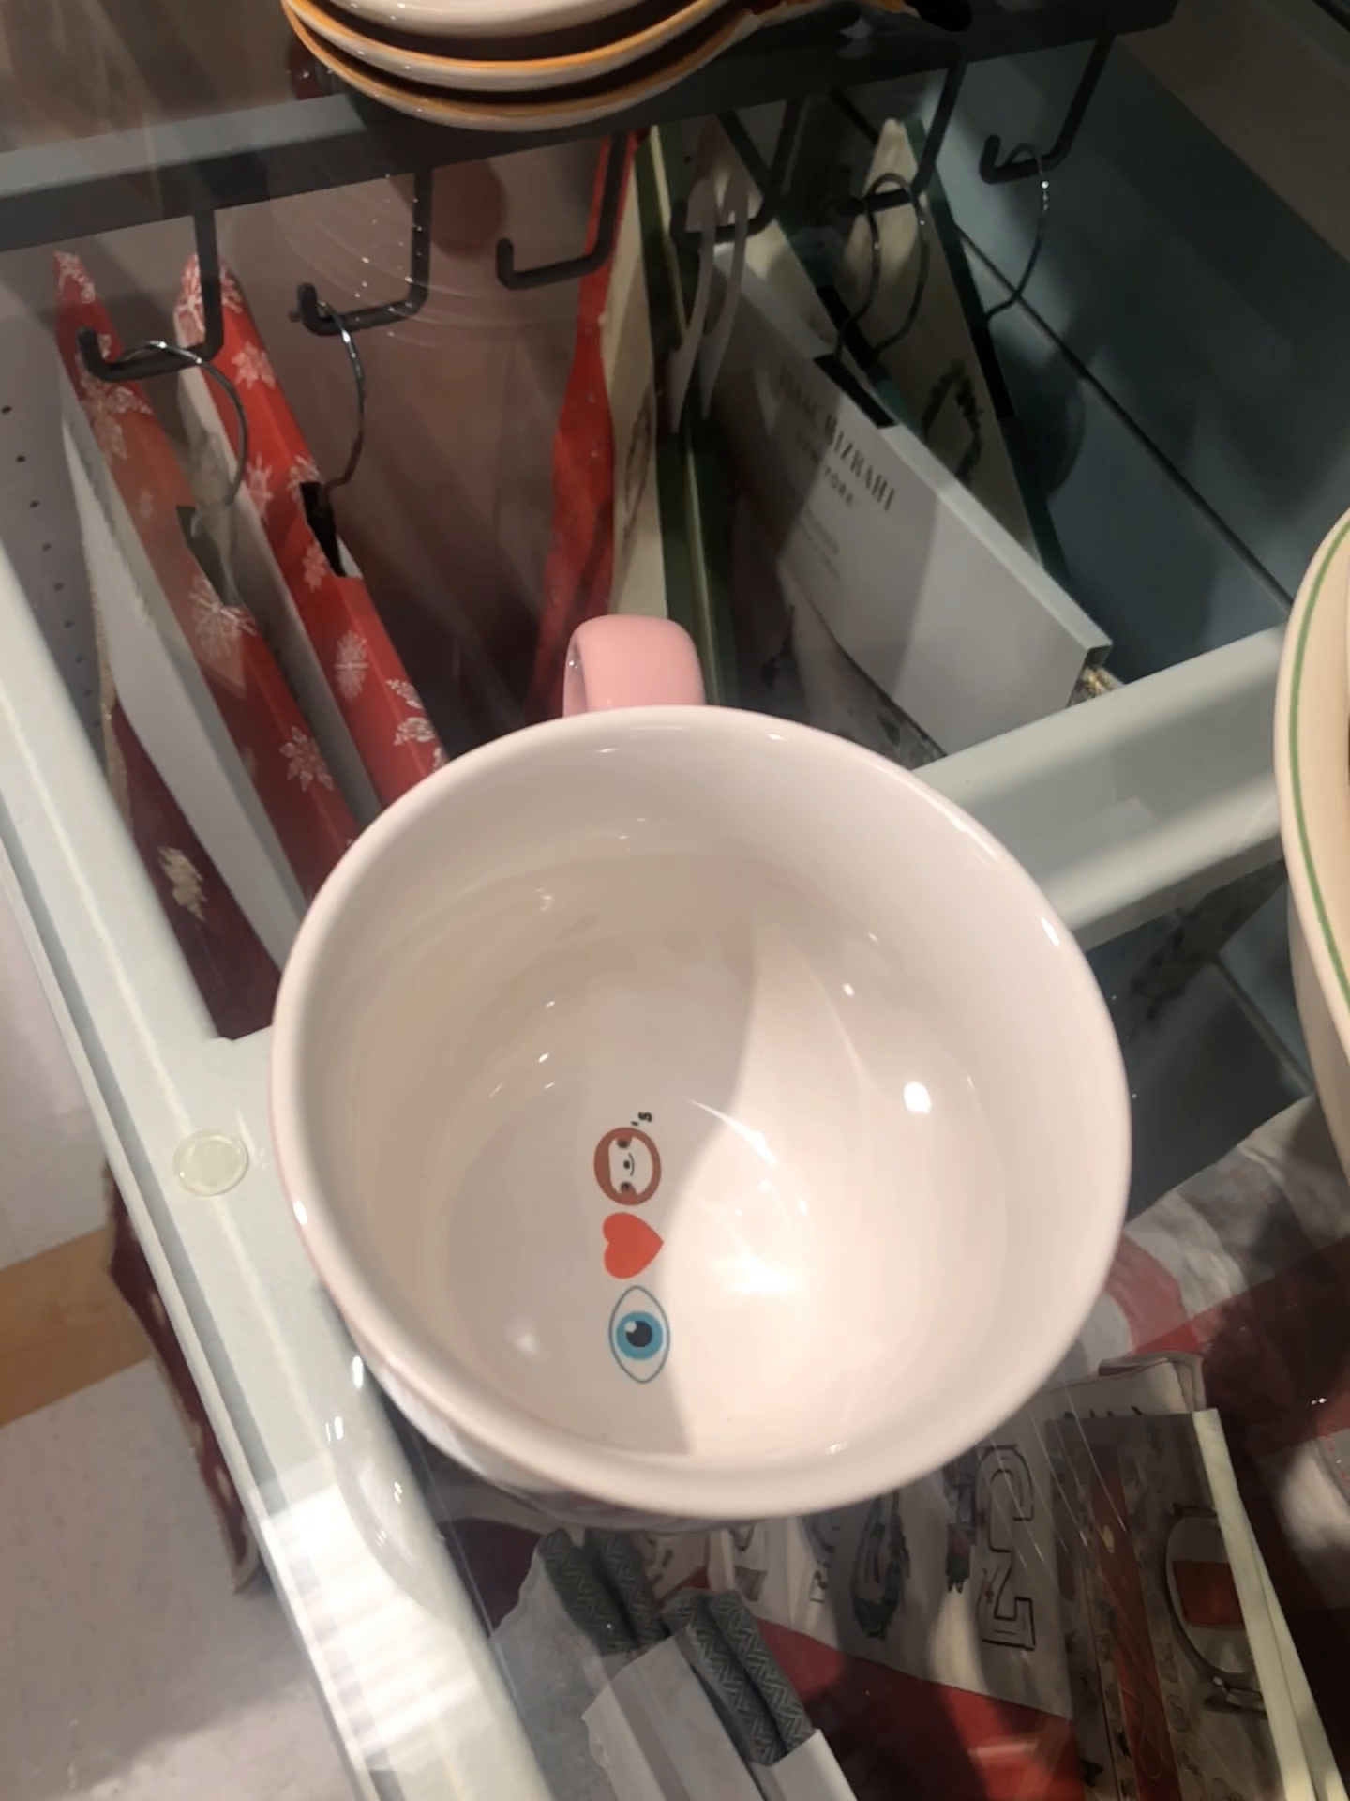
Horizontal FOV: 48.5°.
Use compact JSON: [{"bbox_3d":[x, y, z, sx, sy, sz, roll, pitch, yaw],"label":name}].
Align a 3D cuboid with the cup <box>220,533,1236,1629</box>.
[{"bbox_3d":[-0.006,0.025,0.231,0.112,0.085,0.136,-4,61,-12],"label":"cup"}]
